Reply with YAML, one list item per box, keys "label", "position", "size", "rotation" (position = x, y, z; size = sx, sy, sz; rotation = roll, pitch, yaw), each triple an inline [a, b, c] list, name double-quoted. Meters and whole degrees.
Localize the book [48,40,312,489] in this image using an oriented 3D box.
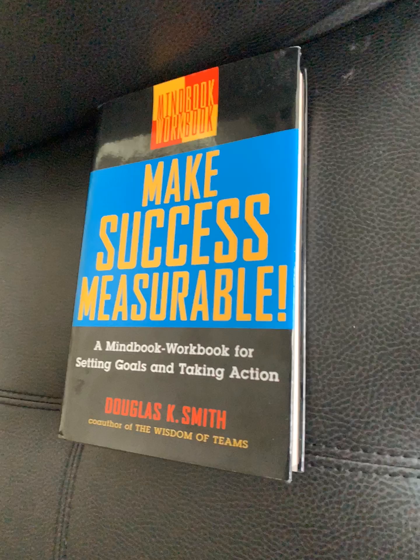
- label: "book"
  position: [-0.020, -0.014, 0.279]
  size: [0.164, 0.030, 0.240]
  rotation: [-3, 78, 29]
